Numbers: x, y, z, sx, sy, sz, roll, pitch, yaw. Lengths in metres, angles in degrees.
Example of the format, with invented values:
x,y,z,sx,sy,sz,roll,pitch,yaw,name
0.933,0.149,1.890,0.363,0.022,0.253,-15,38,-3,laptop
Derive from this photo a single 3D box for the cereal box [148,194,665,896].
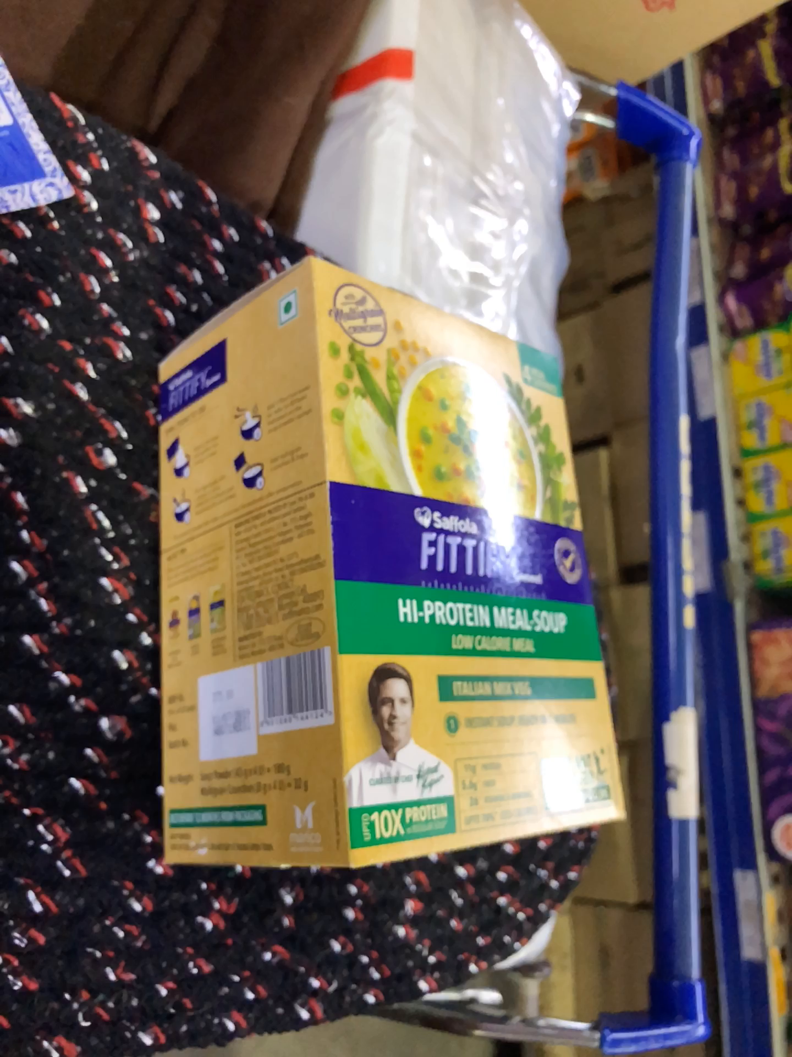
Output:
x,y,z,sx,sy,sz,roll,pitch,yaw,name
0.002,0.013,0.281,0.131,0.080,0.170,10,69,-43,cereal box
